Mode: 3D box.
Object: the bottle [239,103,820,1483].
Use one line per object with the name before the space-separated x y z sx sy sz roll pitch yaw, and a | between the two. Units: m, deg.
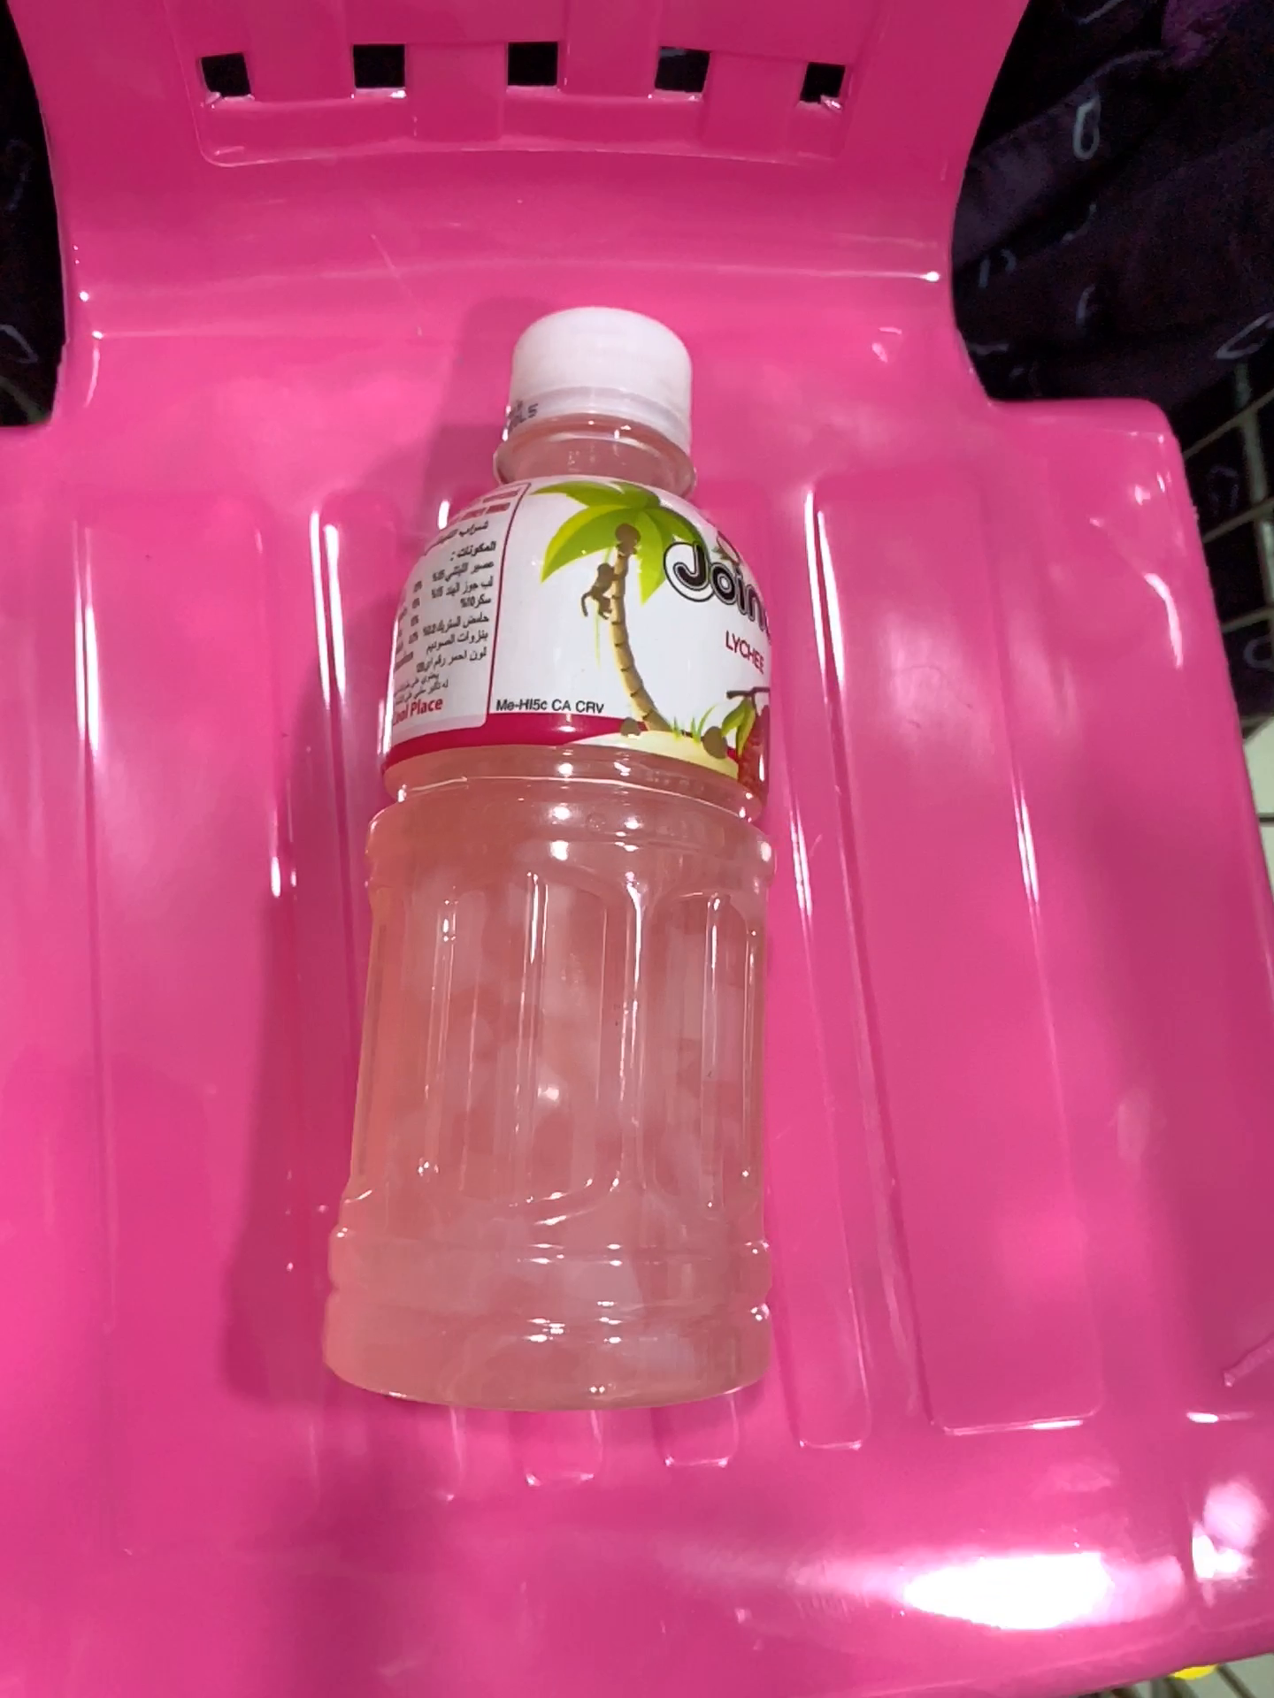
bottle | -0.010 -0.008 0.199 0.060 0.060 0.170 -3 80 23
